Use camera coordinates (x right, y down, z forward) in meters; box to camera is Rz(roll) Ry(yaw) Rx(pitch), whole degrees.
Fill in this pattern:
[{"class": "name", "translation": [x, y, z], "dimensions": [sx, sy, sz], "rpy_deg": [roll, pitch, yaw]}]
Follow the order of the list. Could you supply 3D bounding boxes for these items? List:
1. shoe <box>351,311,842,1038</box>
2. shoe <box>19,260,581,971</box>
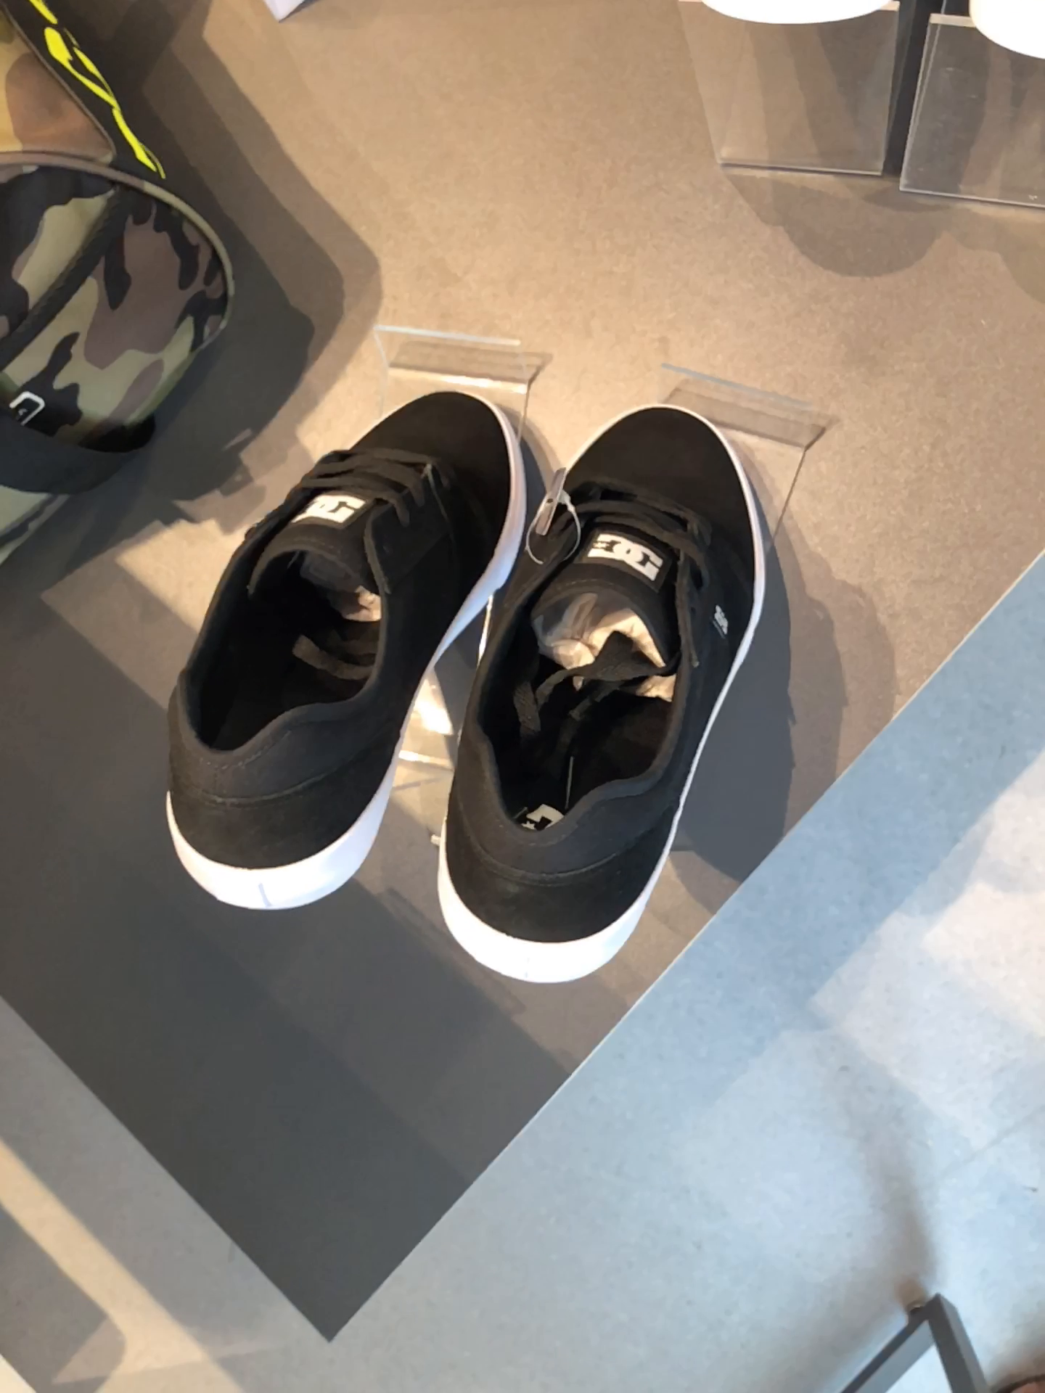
[{"class": "shoe", "translation": [0.035, -0.016, 0.424], "dimensions": [0.106, 0.107, 0.229], "rpy_deg": [14, 56, 9]}, {"class": "shoe", "translation": [-0.060, -0.038, 0.427], "dimensions": [0.106, 0.107, 0.229], "rpy_deg": [13, 56, 9]}]
